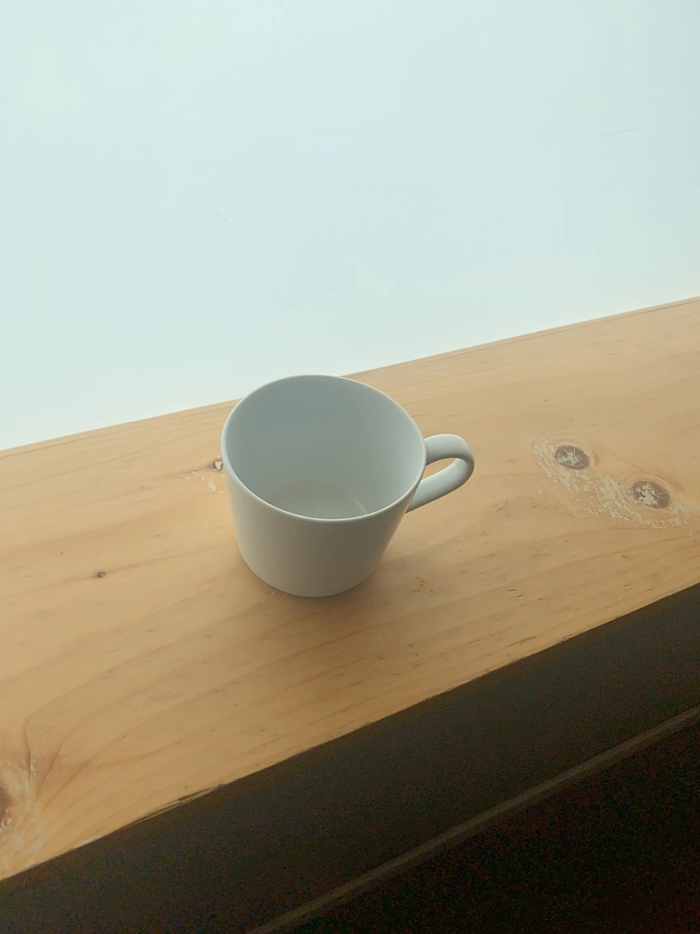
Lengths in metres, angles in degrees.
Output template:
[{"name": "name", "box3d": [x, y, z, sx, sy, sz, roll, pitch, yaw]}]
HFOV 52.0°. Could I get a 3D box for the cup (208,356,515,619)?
[{"name": "cup", "box3d": [-0.001, 0.008, 0.381, 0.130, 0.080, 0.090, -9, 51, -16]}]
